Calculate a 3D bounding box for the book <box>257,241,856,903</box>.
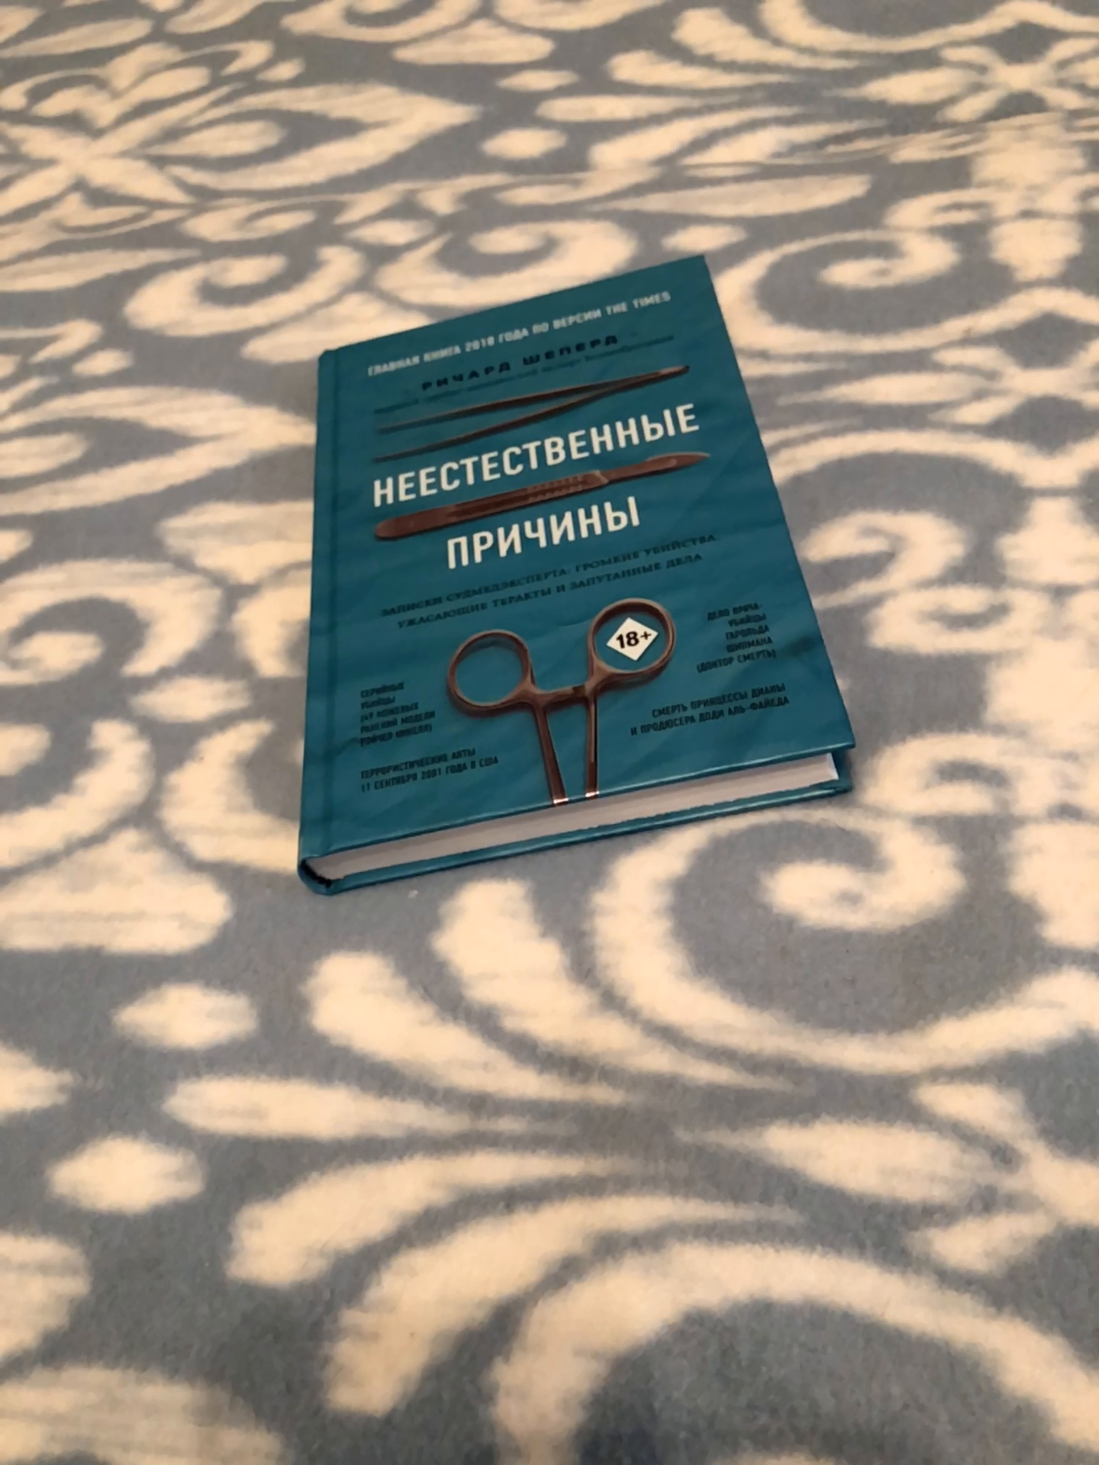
[{"bbox_3d":[-0.008,-0.062,0.373,0.149,0.025,0.219,-11,52,6],"label":"book"}]
